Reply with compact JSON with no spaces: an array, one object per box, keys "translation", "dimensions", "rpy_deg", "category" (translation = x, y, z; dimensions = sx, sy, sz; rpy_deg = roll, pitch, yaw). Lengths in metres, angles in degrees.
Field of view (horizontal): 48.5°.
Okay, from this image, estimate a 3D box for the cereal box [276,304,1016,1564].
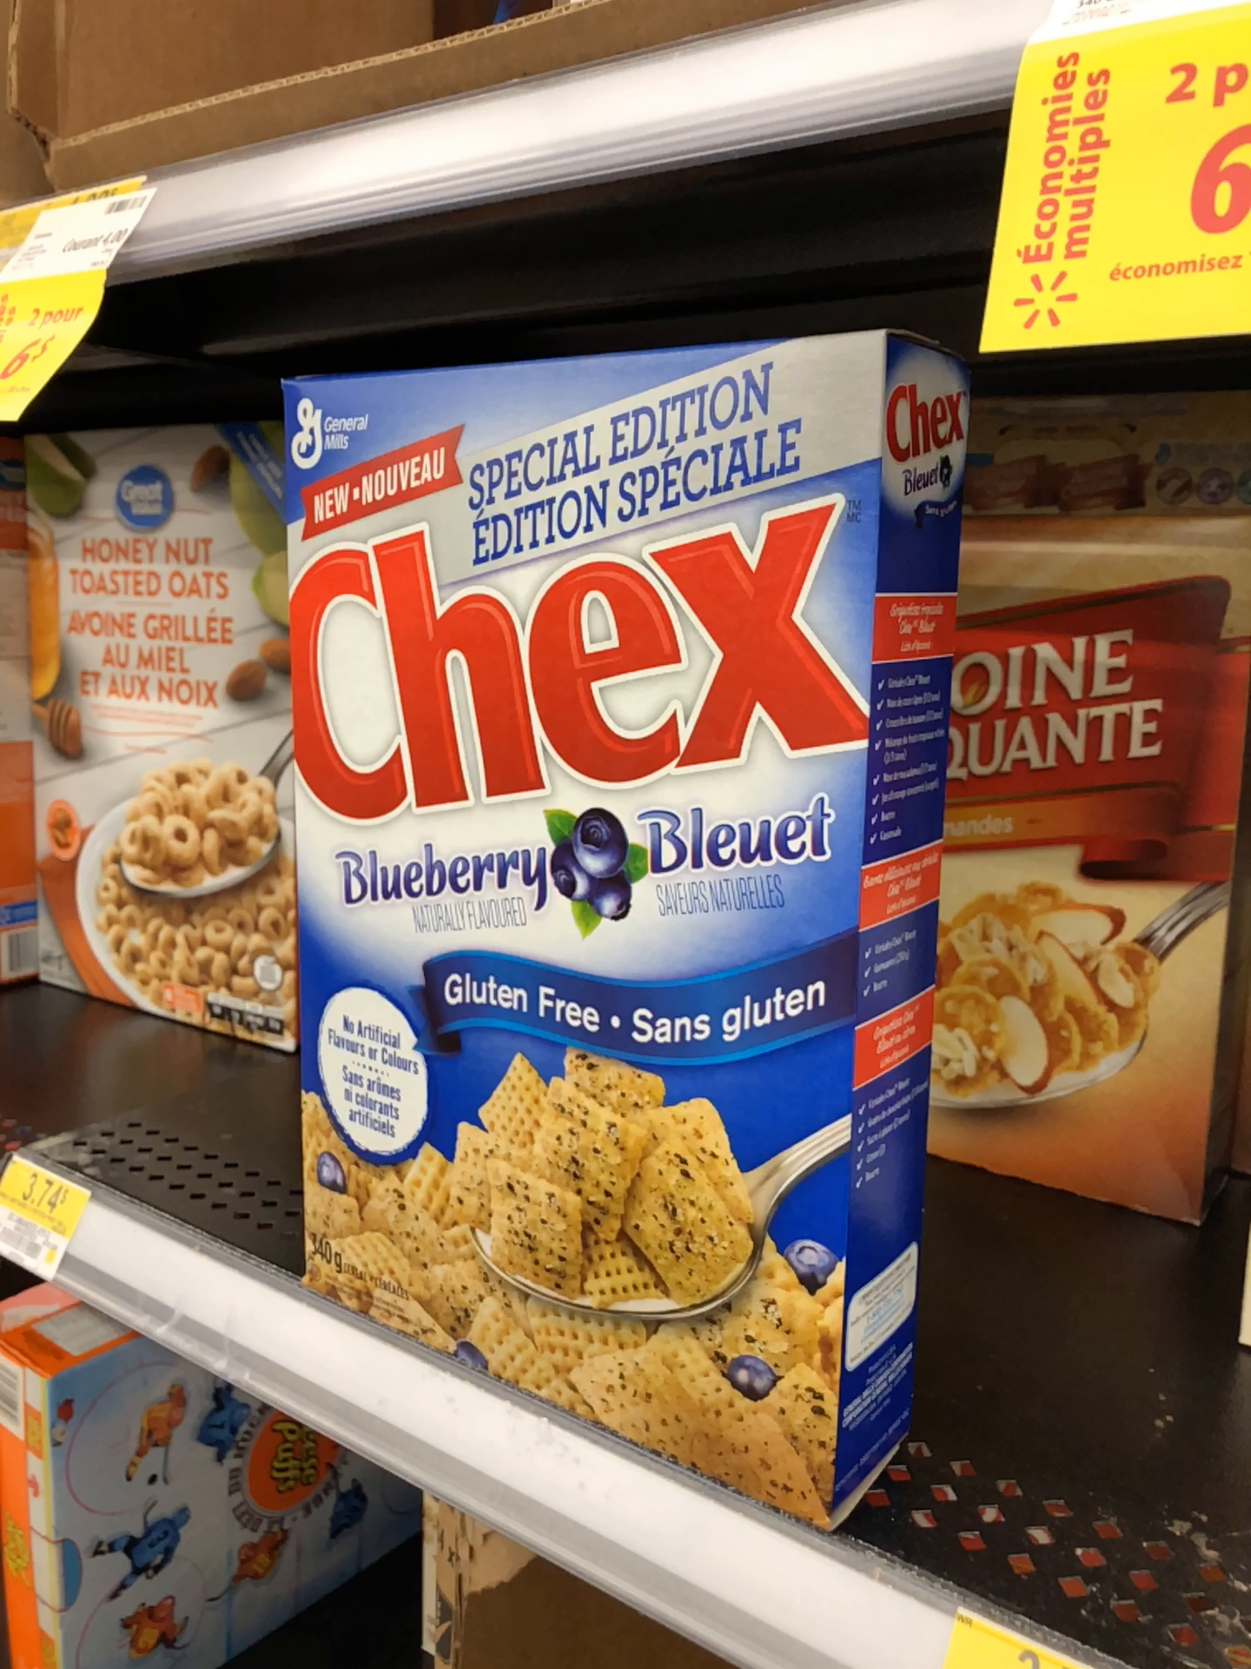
[{"translation":[-0.007,0.016,0.393],"dimensions":[0.200,0.289,0.060],"rpy_deg":[9,12,36],"category":"cereal box"}]
